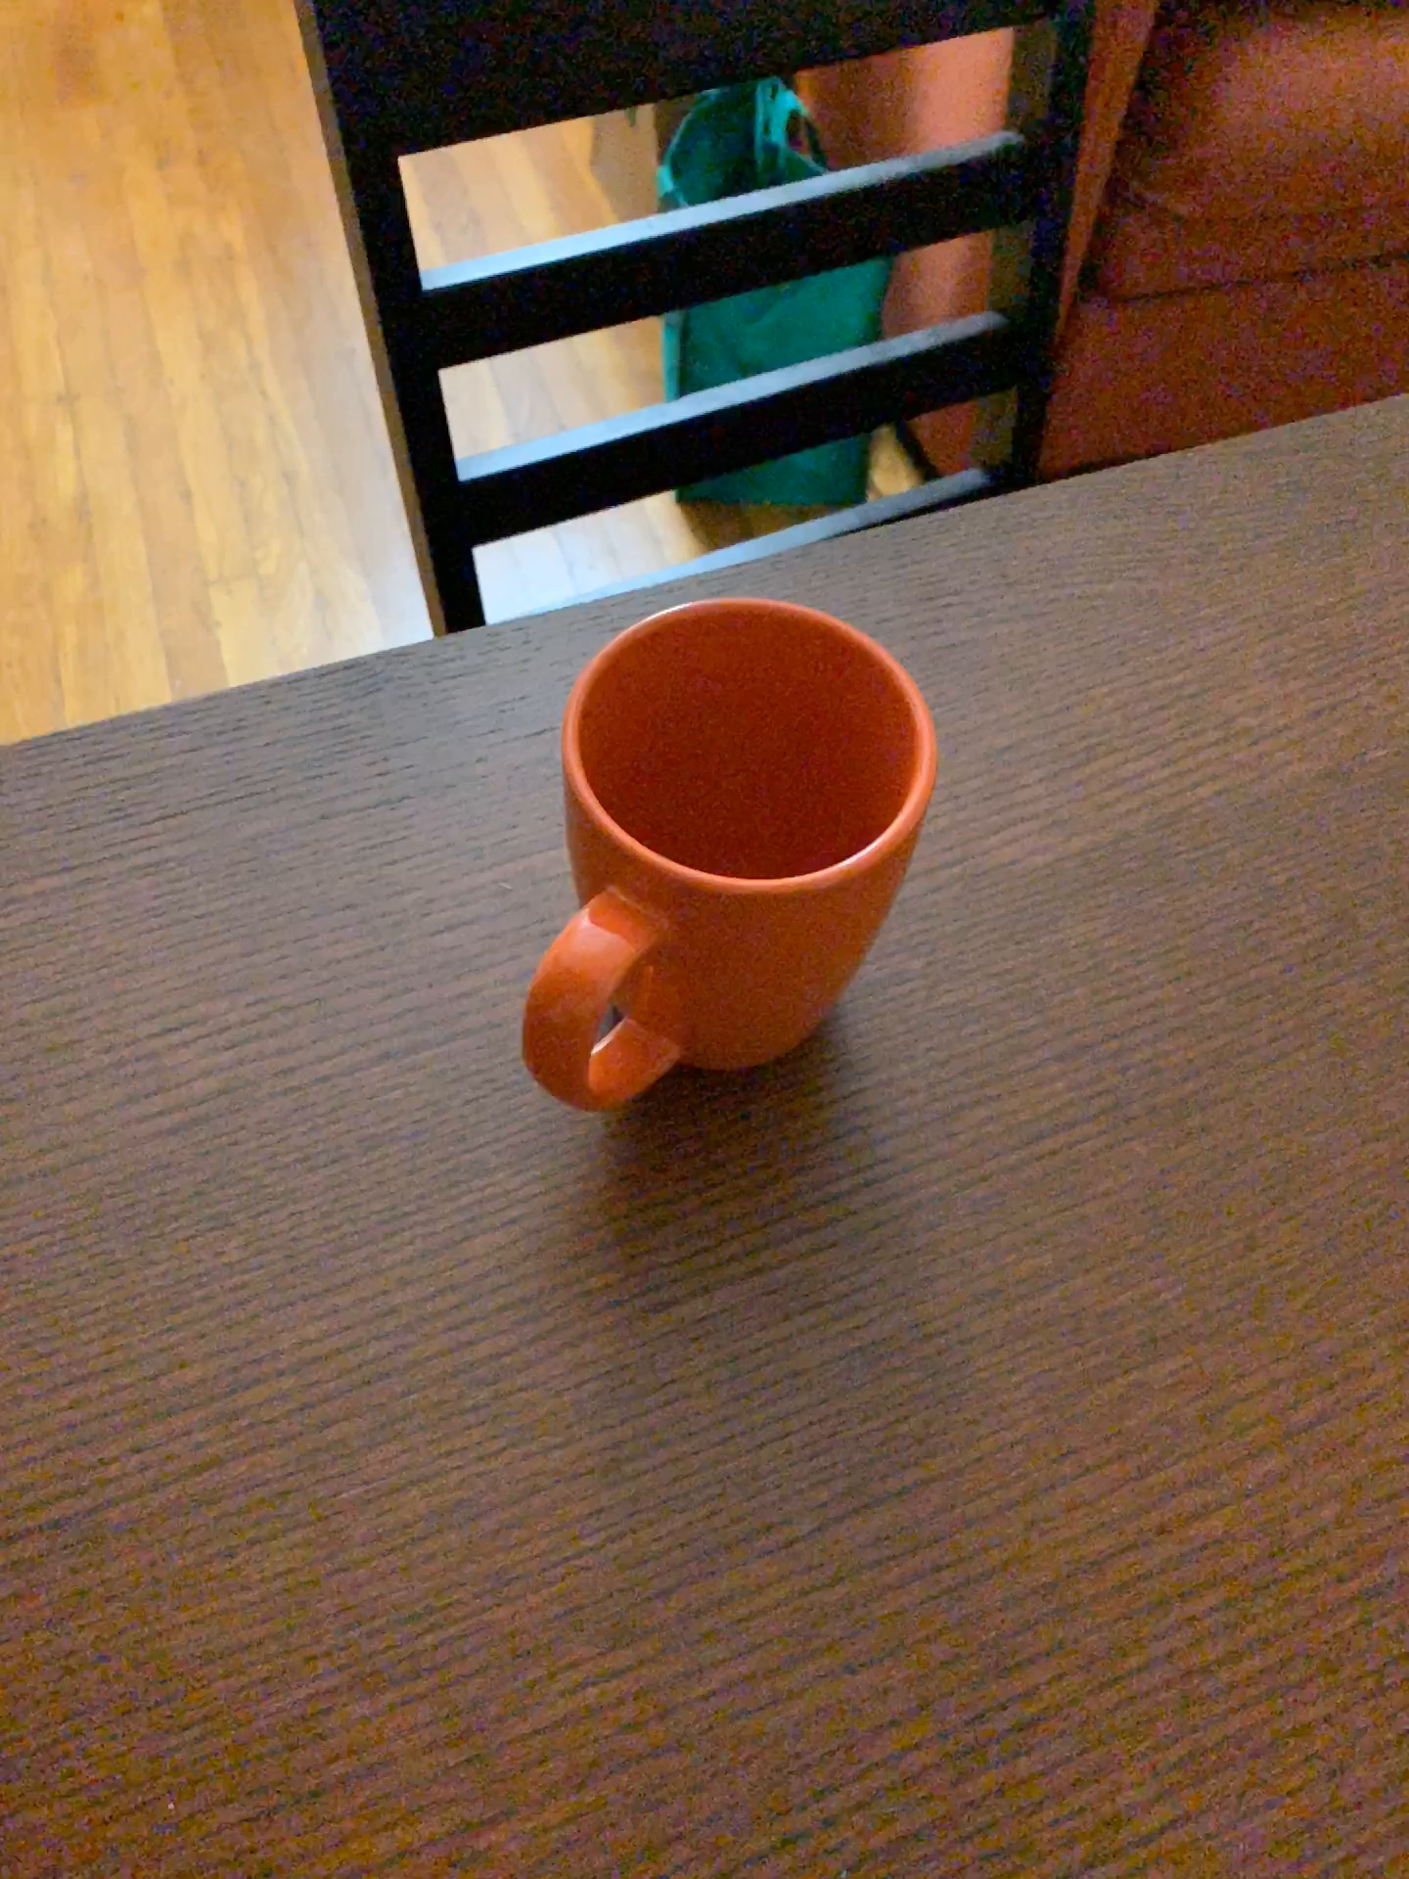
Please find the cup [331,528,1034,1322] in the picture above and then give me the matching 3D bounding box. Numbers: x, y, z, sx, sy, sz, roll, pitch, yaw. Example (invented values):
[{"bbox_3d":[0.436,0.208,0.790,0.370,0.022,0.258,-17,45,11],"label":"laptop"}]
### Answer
[{"bbox_3d":[-0.003,-0.002,0.360,0.100,0.110,0.130,27,61,13],"label":"cup"}]
